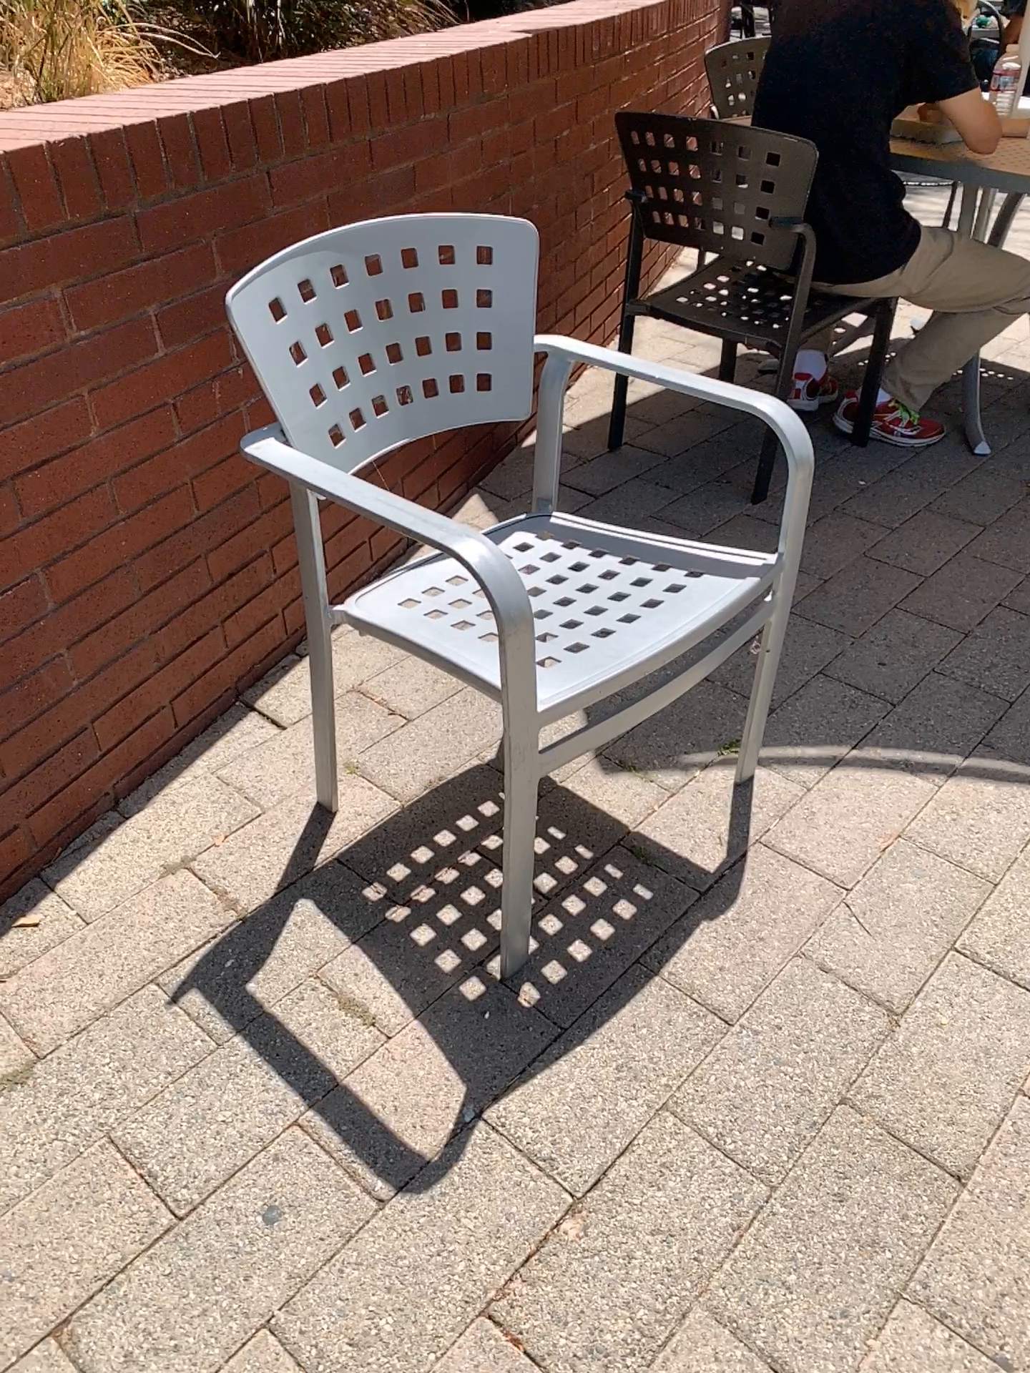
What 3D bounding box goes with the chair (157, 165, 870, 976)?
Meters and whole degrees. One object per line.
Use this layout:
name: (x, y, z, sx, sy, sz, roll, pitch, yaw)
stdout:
chair: (0.014, -0.180, 1.308, 0.494, 0.718, 0.557, 26, 44, 34)
